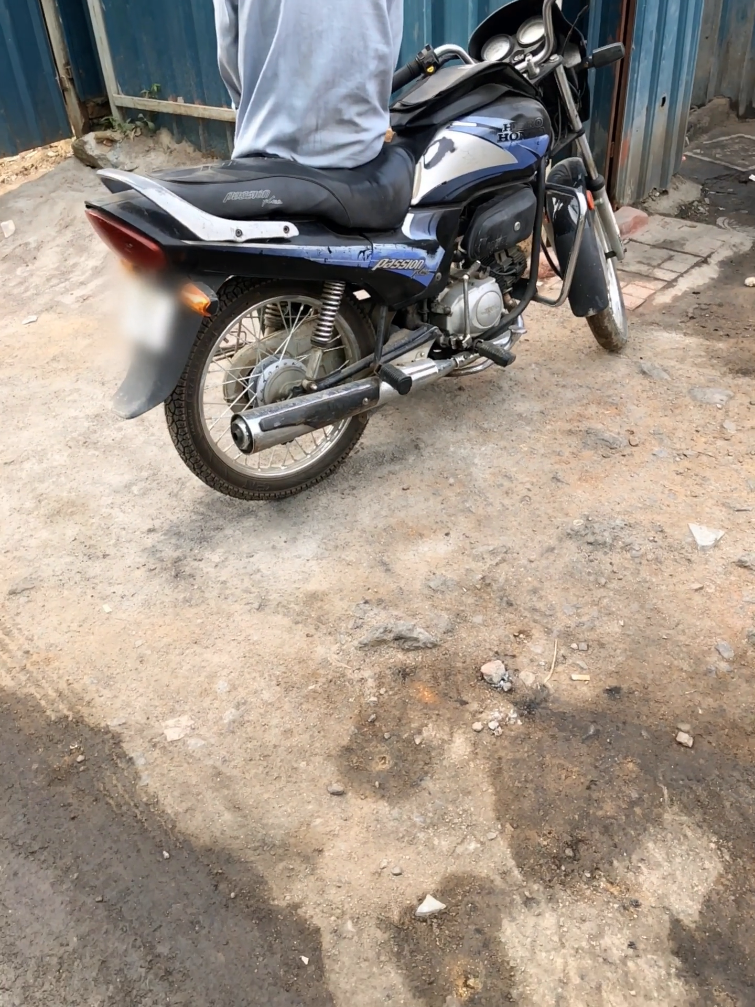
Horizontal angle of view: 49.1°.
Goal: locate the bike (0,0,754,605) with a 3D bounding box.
[{"bbox_3d":[0.128,-0.828,2.289,1.808,1.154,0.785,-32,44,-31],"label":"bike"}]
